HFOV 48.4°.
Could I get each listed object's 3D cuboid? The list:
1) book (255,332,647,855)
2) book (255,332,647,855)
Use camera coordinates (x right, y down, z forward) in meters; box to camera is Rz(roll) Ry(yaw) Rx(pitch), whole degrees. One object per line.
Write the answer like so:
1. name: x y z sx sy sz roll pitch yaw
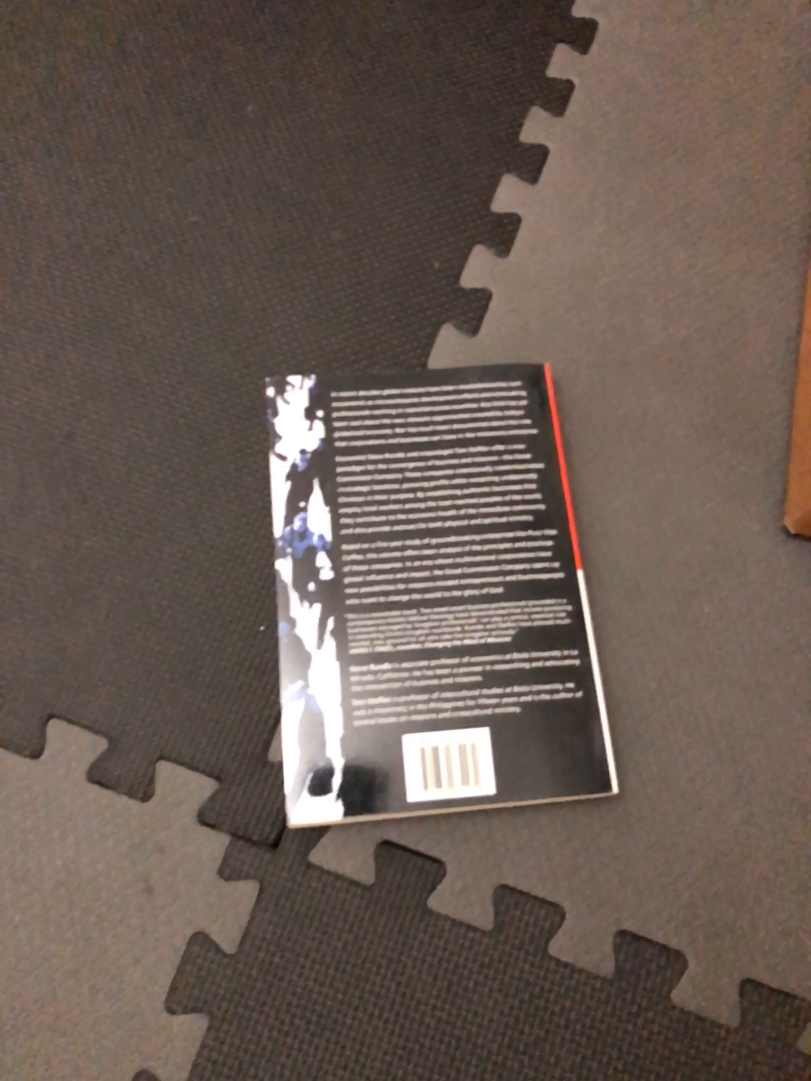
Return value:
1. book: 0.012 0.014 0.411 0.150 0.020 0.231 -5 69 -3
2. book: 0.012 0.014 0.411 0.150 0.020 0.231 -5 69 -3
